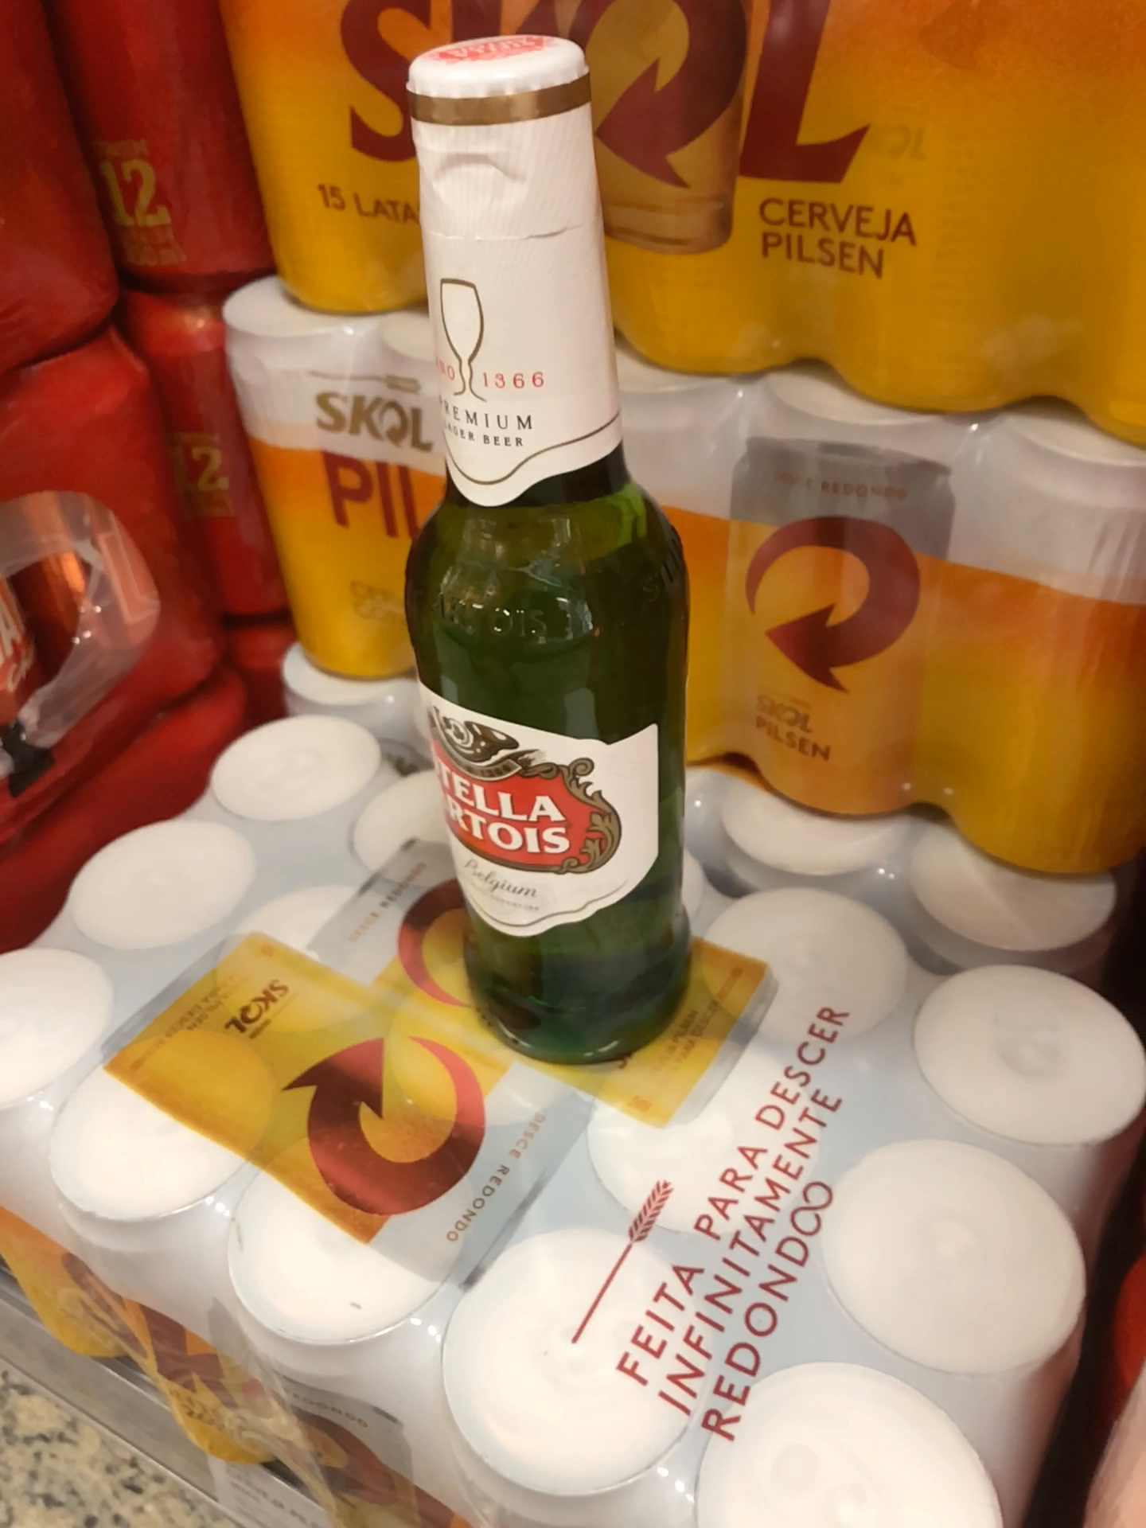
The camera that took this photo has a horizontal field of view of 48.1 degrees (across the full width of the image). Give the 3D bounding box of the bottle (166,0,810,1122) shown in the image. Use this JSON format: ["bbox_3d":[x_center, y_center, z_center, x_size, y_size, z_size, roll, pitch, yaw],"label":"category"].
[{"bbox_3d":[-0.001,-0.030,0.252,0.070,0.218,0.060,18,46,26],"label":"bottle"}]
